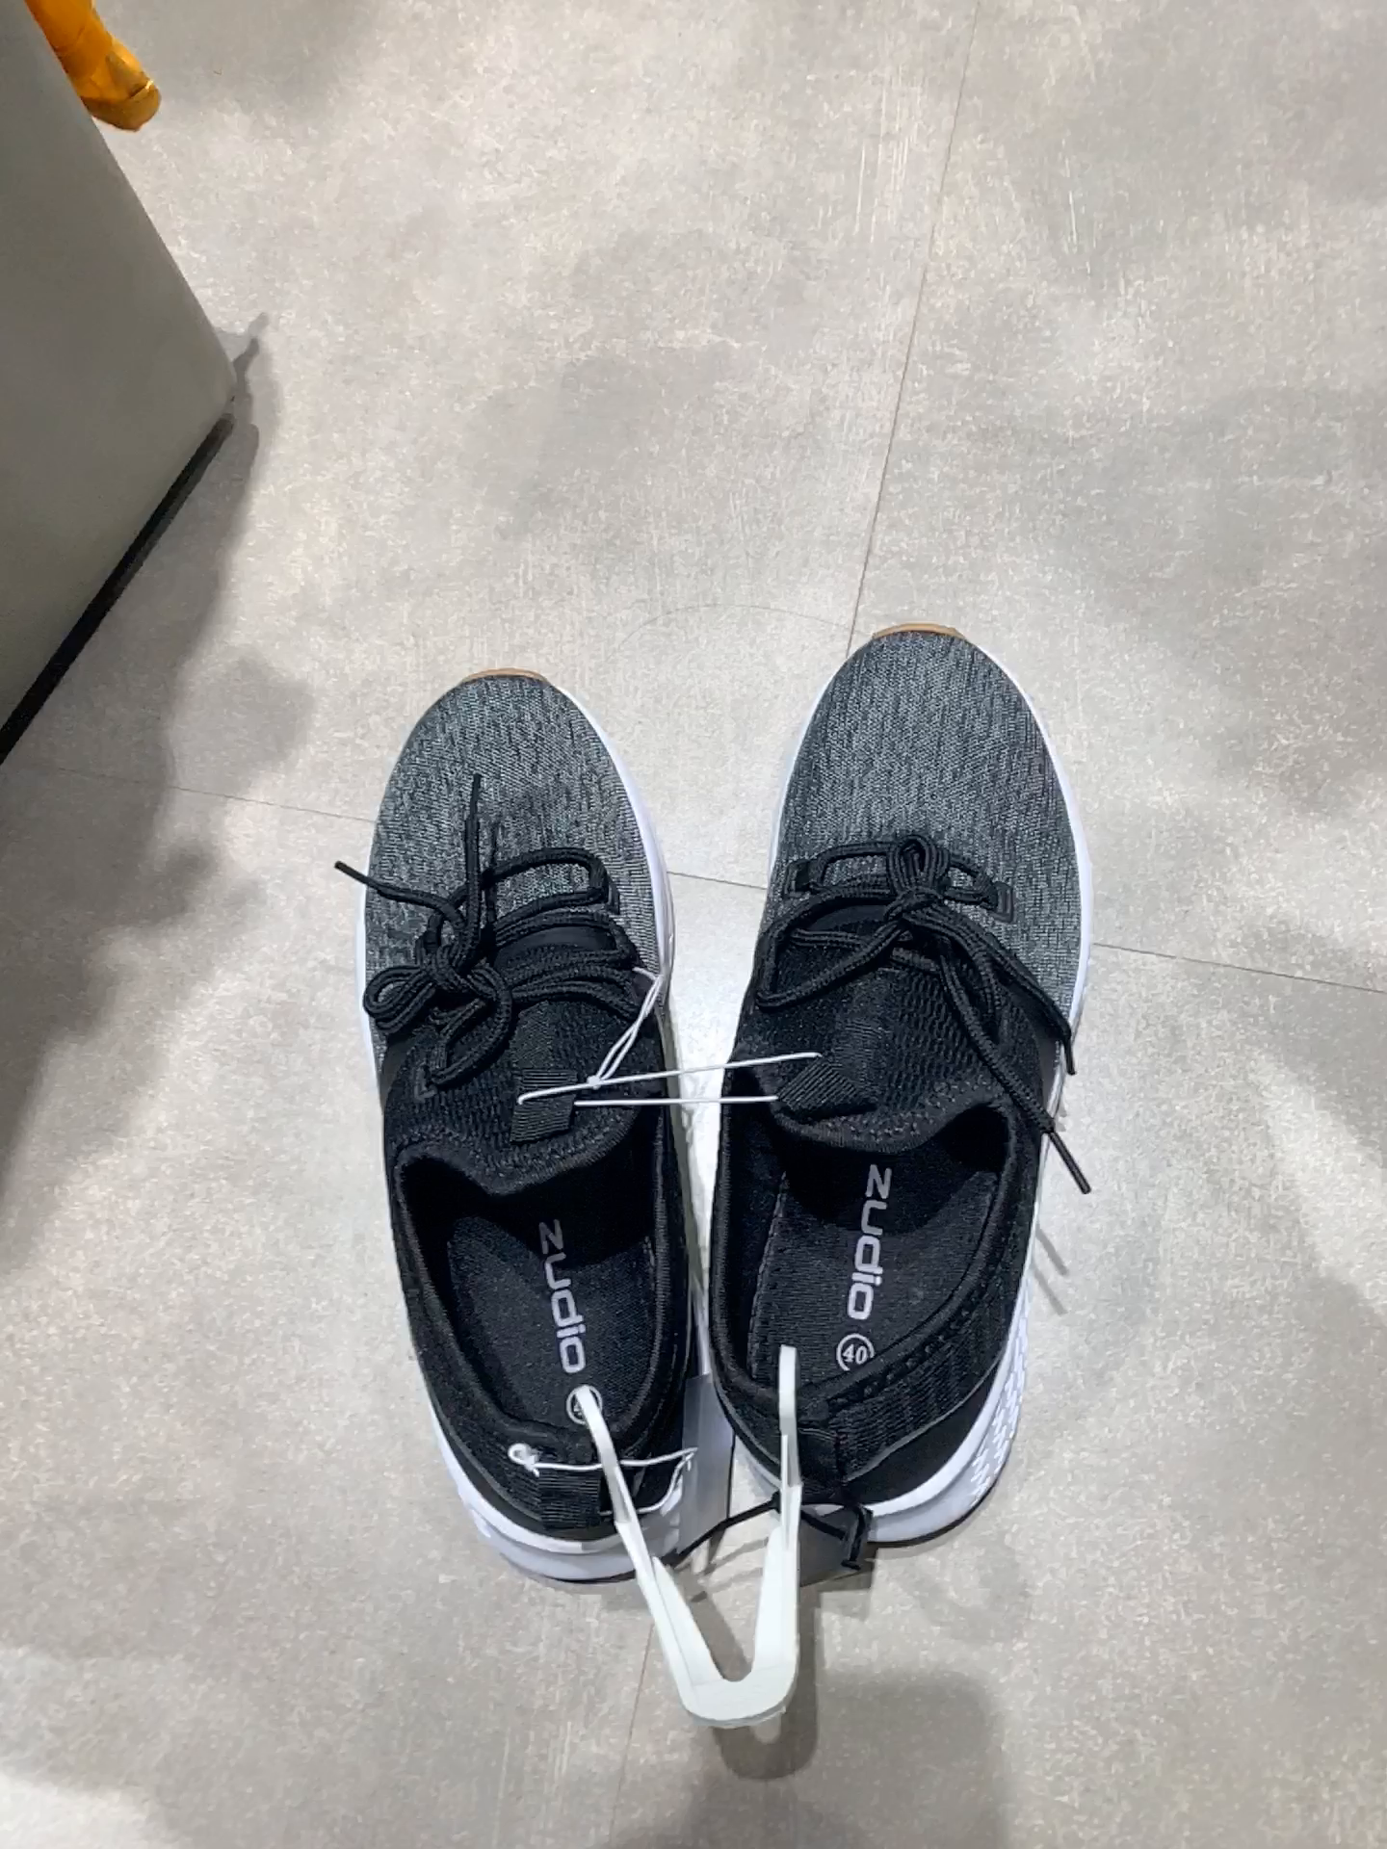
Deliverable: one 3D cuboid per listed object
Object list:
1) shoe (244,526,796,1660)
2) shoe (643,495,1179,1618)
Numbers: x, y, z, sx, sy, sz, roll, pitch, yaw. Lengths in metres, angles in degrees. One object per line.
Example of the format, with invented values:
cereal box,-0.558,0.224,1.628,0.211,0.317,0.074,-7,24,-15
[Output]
shoe,-0.050,0.040,0.405,0.106,0.096,0.278,-11,70,2
shoe,0.066,0.029,0.401,0.107,0.096,0.278,6,72,8
